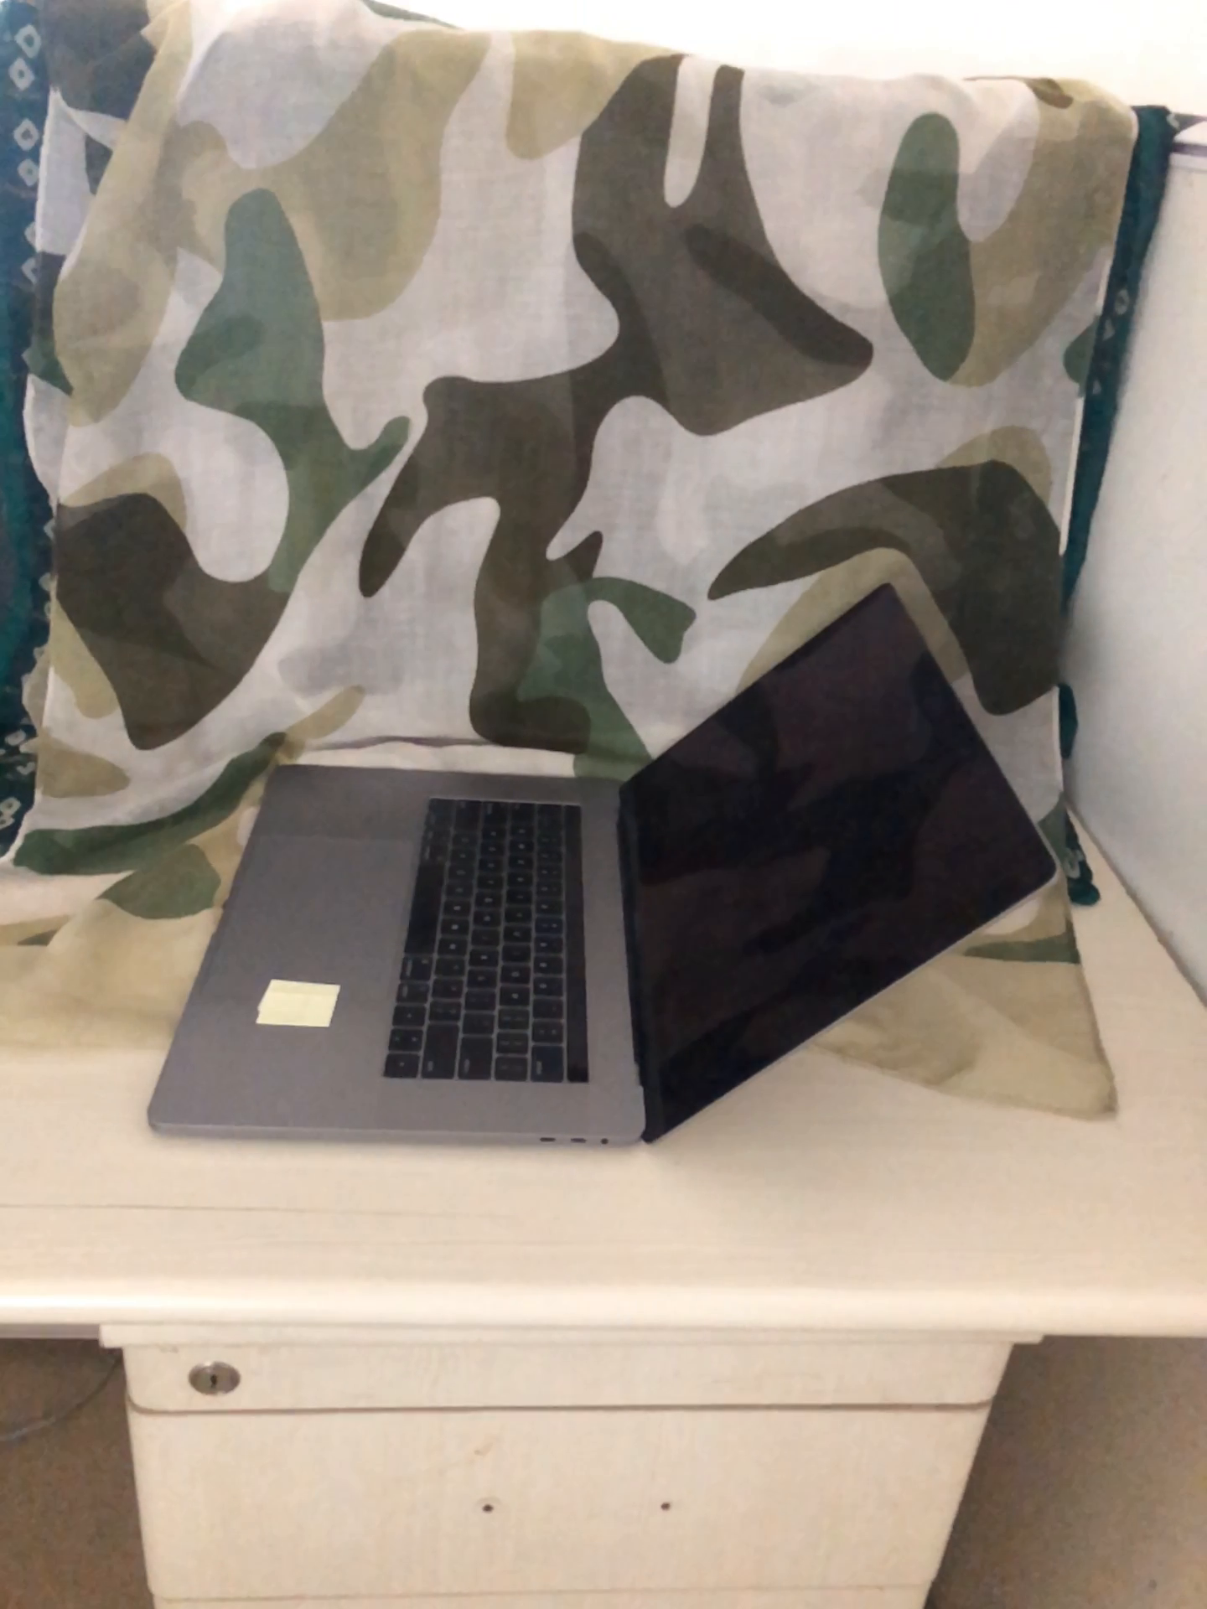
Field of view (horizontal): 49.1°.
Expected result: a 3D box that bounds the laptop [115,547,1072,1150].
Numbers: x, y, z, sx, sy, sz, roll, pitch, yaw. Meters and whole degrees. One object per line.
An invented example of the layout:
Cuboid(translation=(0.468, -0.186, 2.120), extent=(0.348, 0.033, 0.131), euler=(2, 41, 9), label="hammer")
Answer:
Cuboid(translation=(-0.014, 0.002, 0.744), extent=(0.402, 0.165, 0.343), euler=(3, 29, -3), label="laptop")
